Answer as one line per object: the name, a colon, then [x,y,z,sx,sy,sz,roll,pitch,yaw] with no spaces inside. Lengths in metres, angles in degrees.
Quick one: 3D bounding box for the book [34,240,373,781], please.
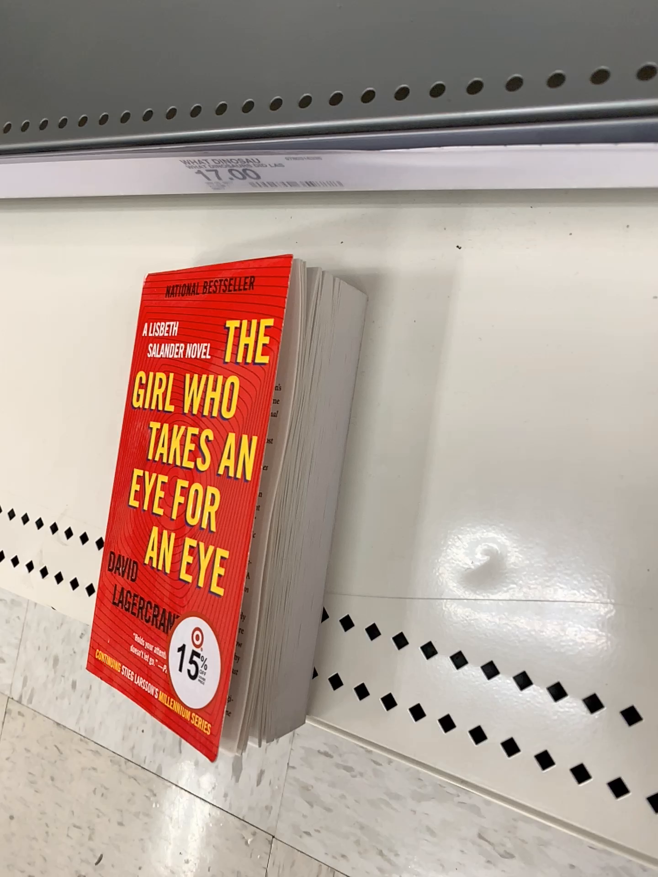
book: [-0.056,0.021,0.296,0.115,0.046,0.199,8,89,29]
